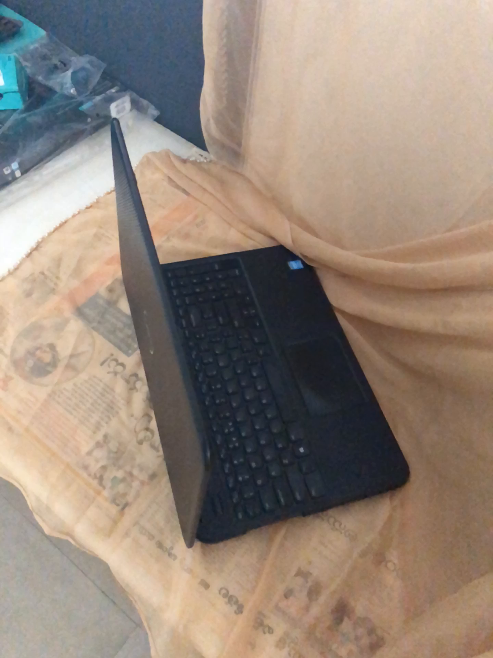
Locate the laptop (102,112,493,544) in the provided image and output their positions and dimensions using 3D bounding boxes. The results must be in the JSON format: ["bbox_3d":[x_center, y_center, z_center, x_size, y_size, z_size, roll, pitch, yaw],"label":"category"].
[{"bbox_3d":[0.020,-0.013,0.559,0.256,0.238,0.334,-11,57,-15],"label":"laptop"}]
